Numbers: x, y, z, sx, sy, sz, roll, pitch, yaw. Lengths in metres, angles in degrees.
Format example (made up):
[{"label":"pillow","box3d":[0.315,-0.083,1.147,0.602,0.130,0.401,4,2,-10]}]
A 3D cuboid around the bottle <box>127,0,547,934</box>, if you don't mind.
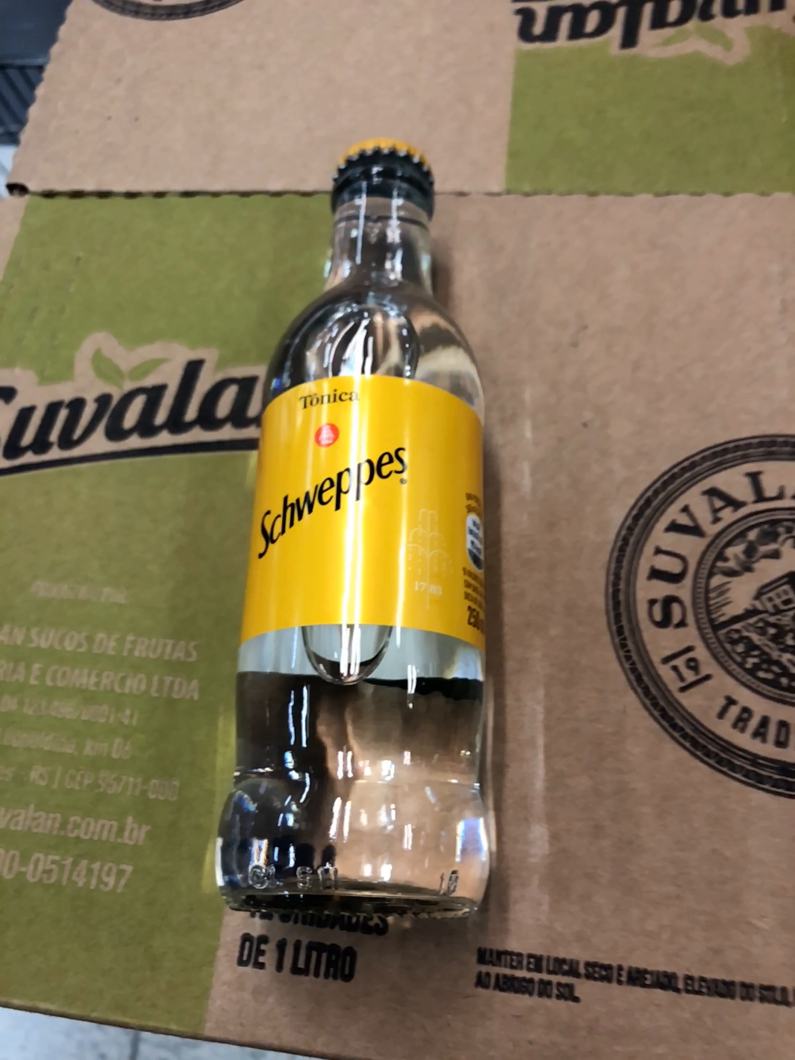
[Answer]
[{"label":"bottle","box3d":[-0.006,-0.032,0.226,0.070,0.070,0.241,-2,67,5]}]
